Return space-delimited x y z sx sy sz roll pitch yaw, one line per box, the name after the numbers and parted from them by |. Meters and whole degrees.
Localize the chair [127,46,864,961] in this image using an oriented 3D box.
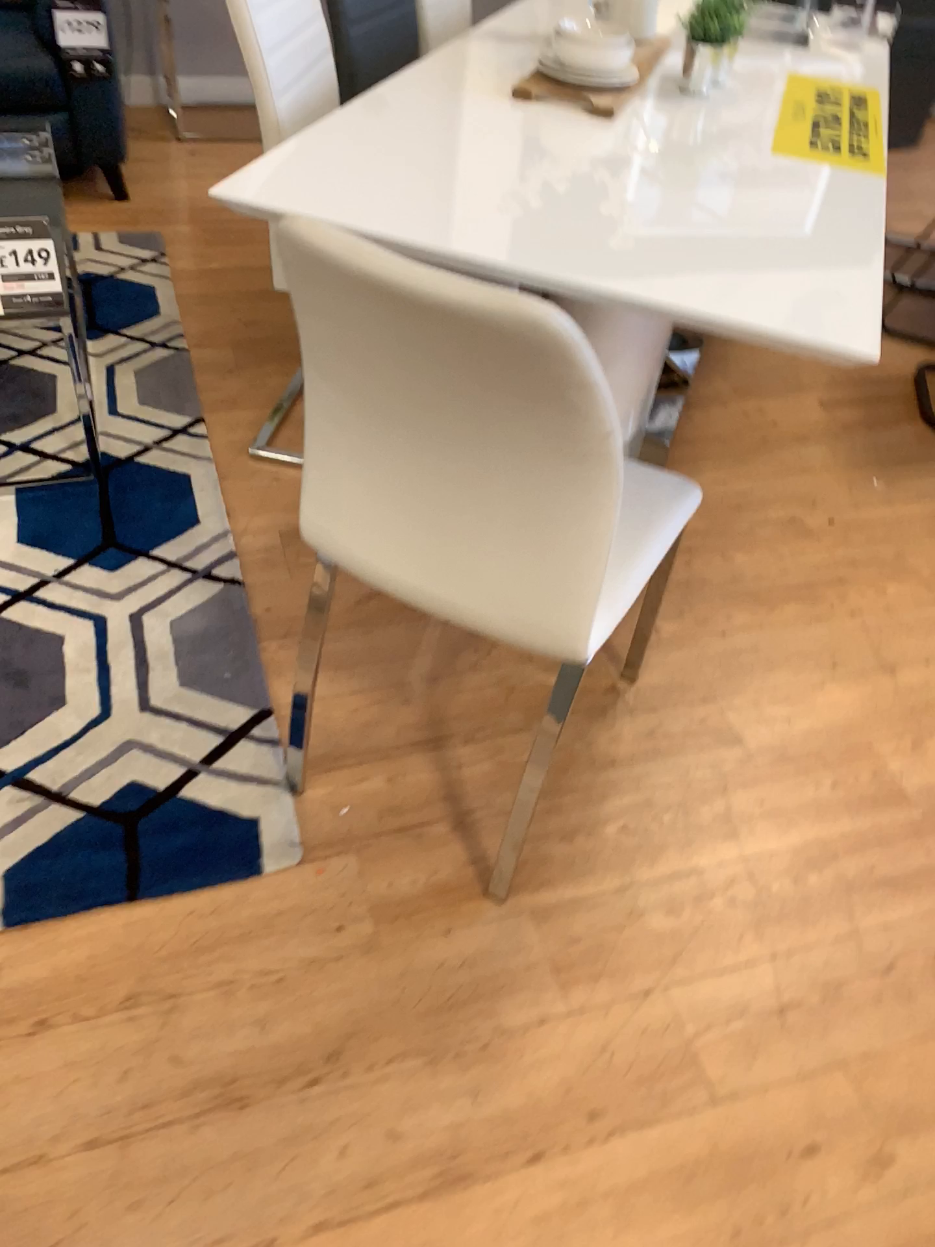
0.045 -0.158 1.257 0.491 0.882 0.675 25 46 18 | chair
